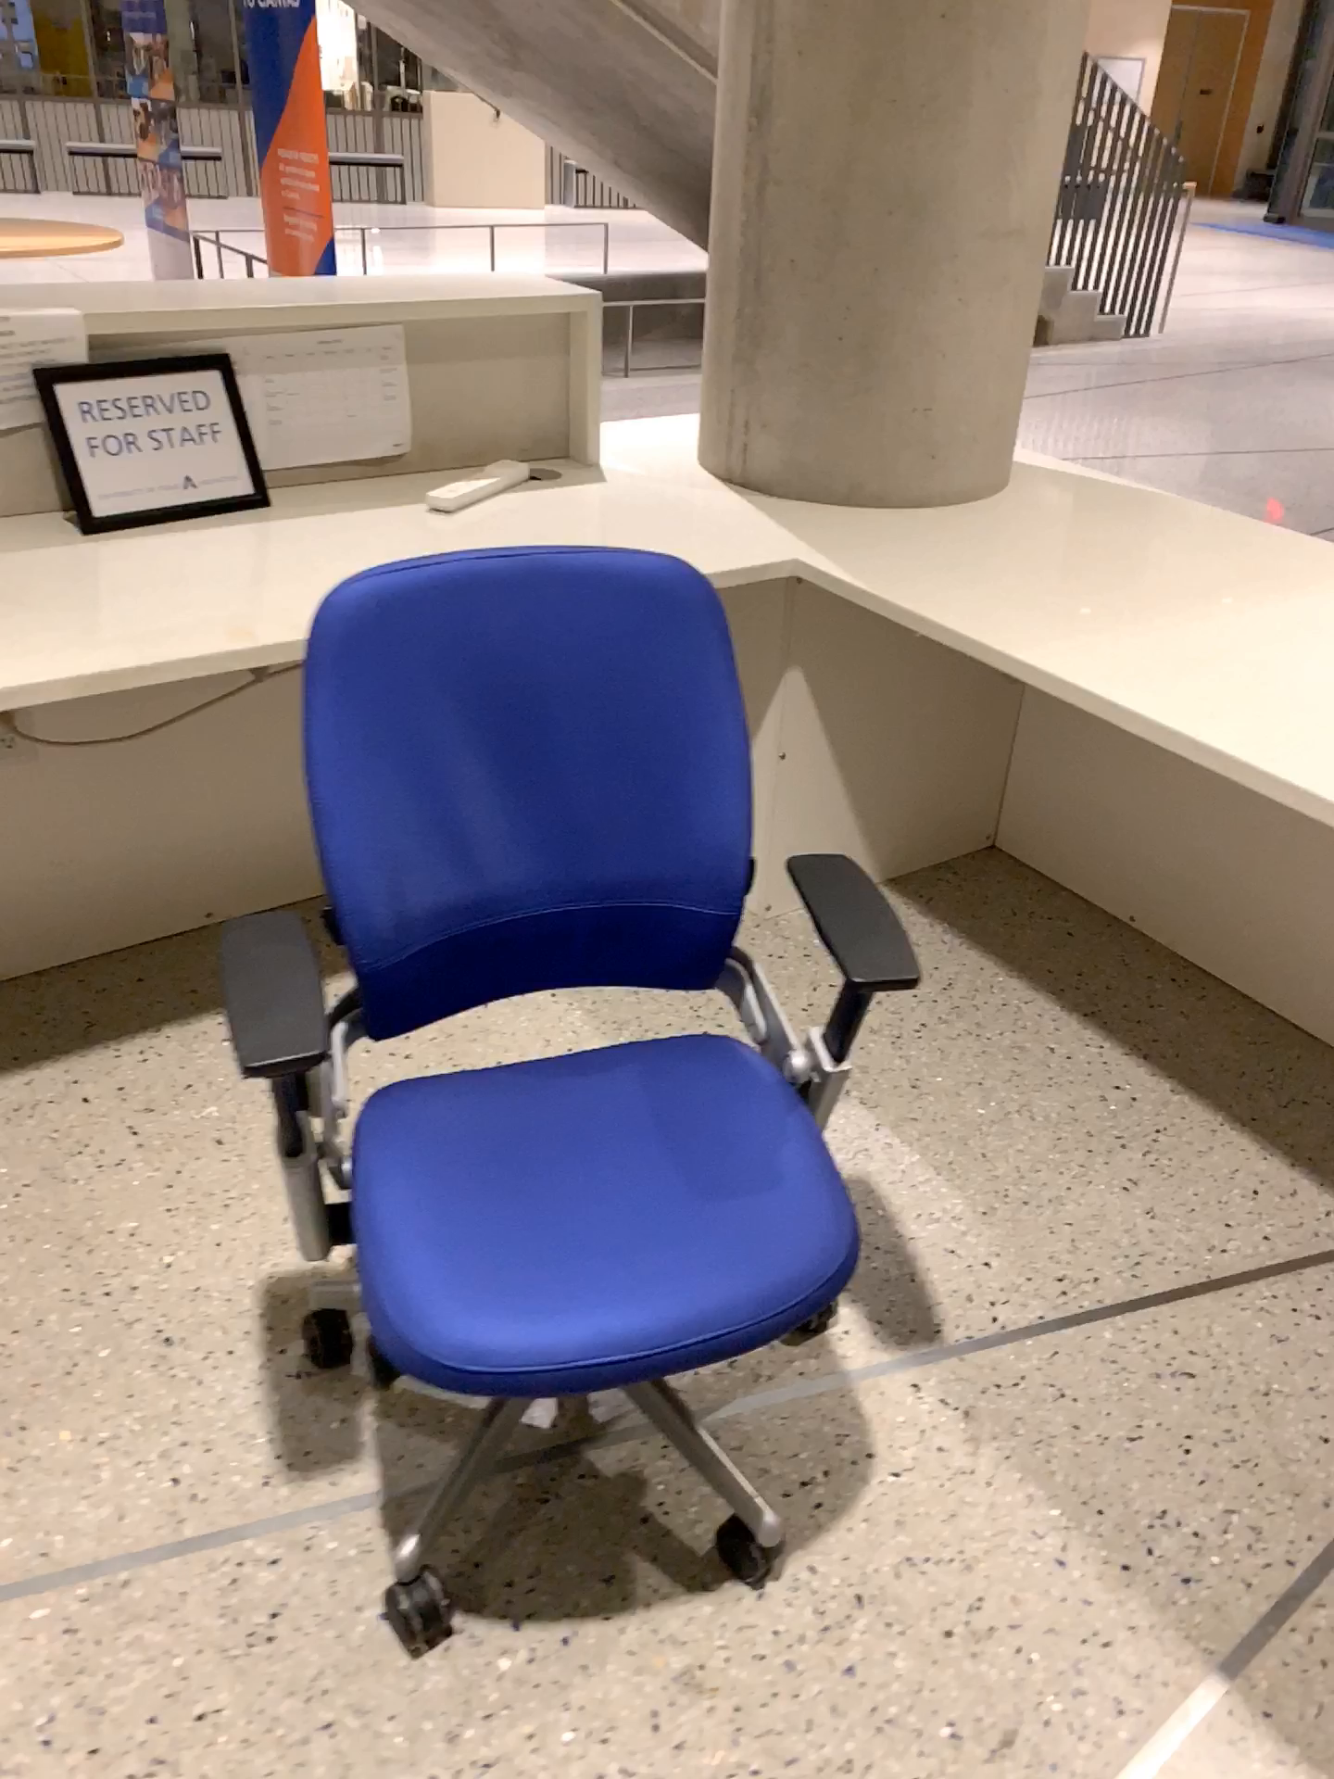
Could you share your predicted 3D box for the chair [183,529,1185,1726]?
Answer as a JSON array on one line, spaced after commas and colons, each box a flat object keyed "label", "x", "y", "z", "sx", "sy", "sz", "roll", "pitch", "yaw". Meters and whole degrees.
[{"label": "chair", "x": -0.064, "y": 0.178, "z": 1.391, "sx": 0.686, "sy": 0.880, "sz": 0.652, "roll": -8, "pitch": 32, "yaw": -18}]
